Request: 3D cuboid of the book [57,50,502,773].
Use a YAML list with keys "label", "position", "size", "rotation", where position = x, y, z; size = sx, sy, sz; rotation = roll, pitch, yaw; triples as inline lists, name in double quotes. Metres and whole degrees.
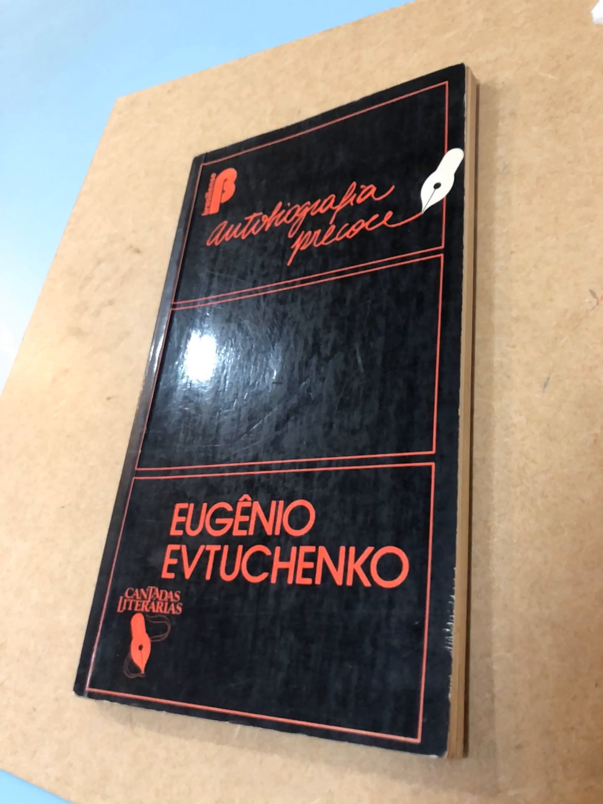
- label: "book"
  position: [-0.002, -0.009, 0.198]
  size: [0.114, 0.016, 0.190]
  rotation: [-6, 63, 30]
